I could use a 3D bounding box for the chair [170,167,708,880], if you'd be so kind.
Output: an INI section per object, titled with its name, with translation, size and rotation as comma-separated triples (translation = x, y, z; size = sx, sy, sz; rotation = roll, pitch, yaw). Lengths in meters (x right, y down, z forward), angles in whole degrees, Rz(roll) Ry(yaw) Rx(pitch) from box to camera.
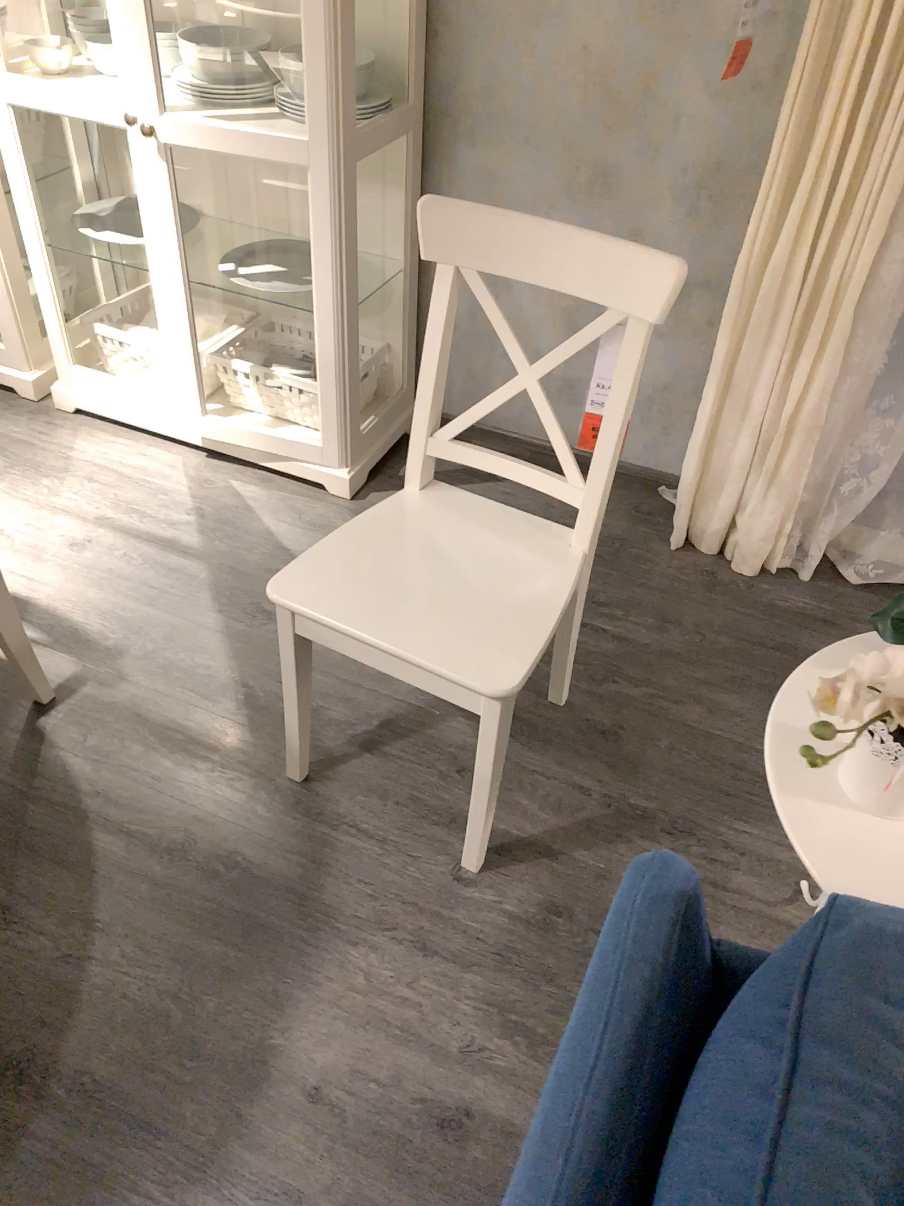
[chair]
translation = -0.005, -0.113, 1.381
size = 0.450, 0.807, 0.542
rotation = 21, 45, 18
